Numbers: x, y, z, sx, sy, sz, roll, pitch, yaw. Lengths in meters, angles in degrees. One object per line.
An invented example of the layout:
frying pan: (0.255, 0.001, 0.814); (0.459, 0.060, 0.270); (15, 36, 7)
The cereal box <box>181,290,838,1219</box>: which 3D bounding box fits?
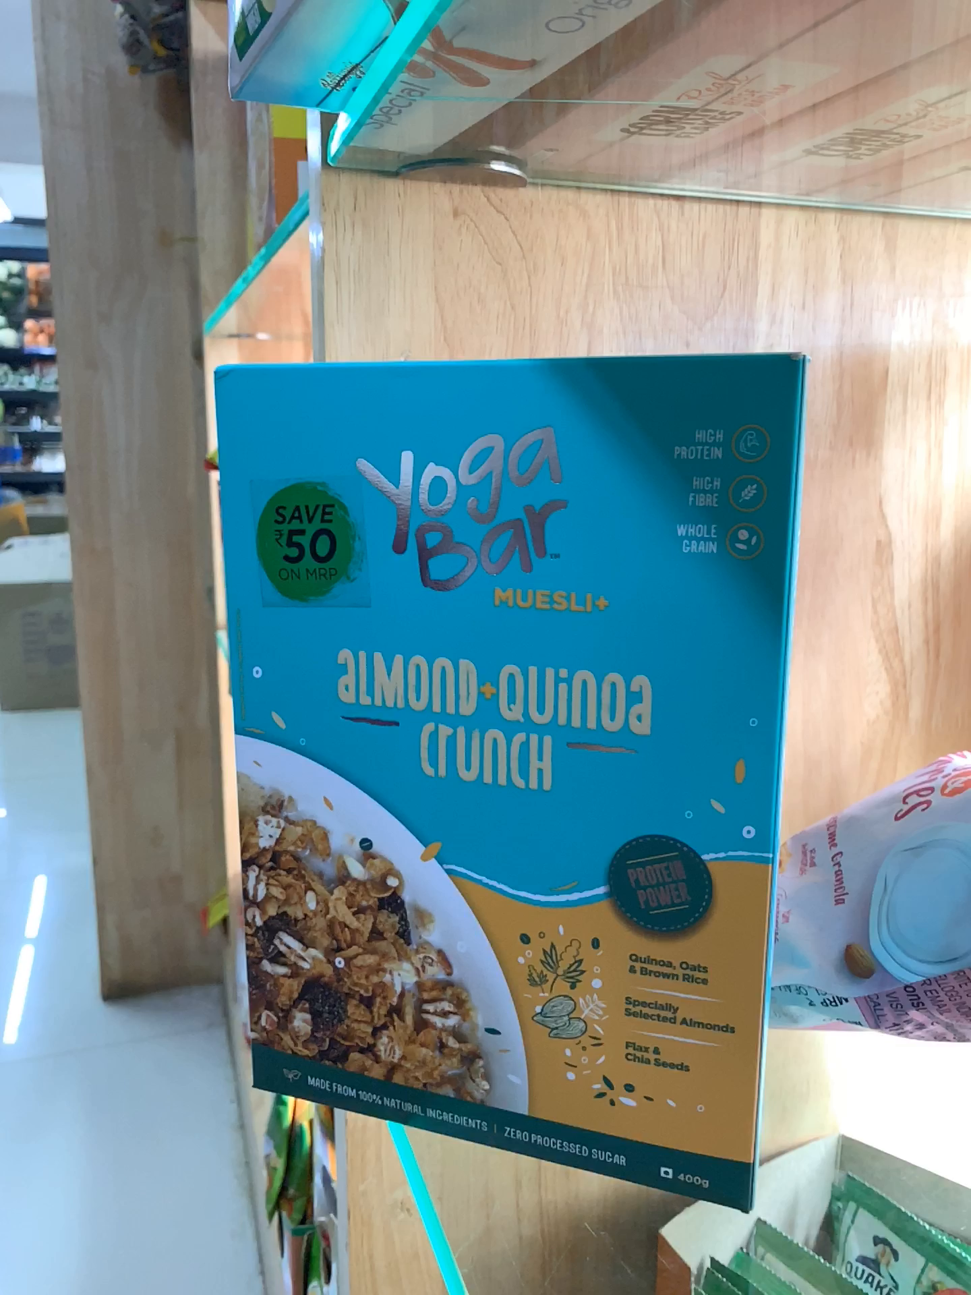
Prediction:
cereal box: (0.006, 0.022, 0.283); (0.160, 0.219, 0.060); (4, 12, 19)
